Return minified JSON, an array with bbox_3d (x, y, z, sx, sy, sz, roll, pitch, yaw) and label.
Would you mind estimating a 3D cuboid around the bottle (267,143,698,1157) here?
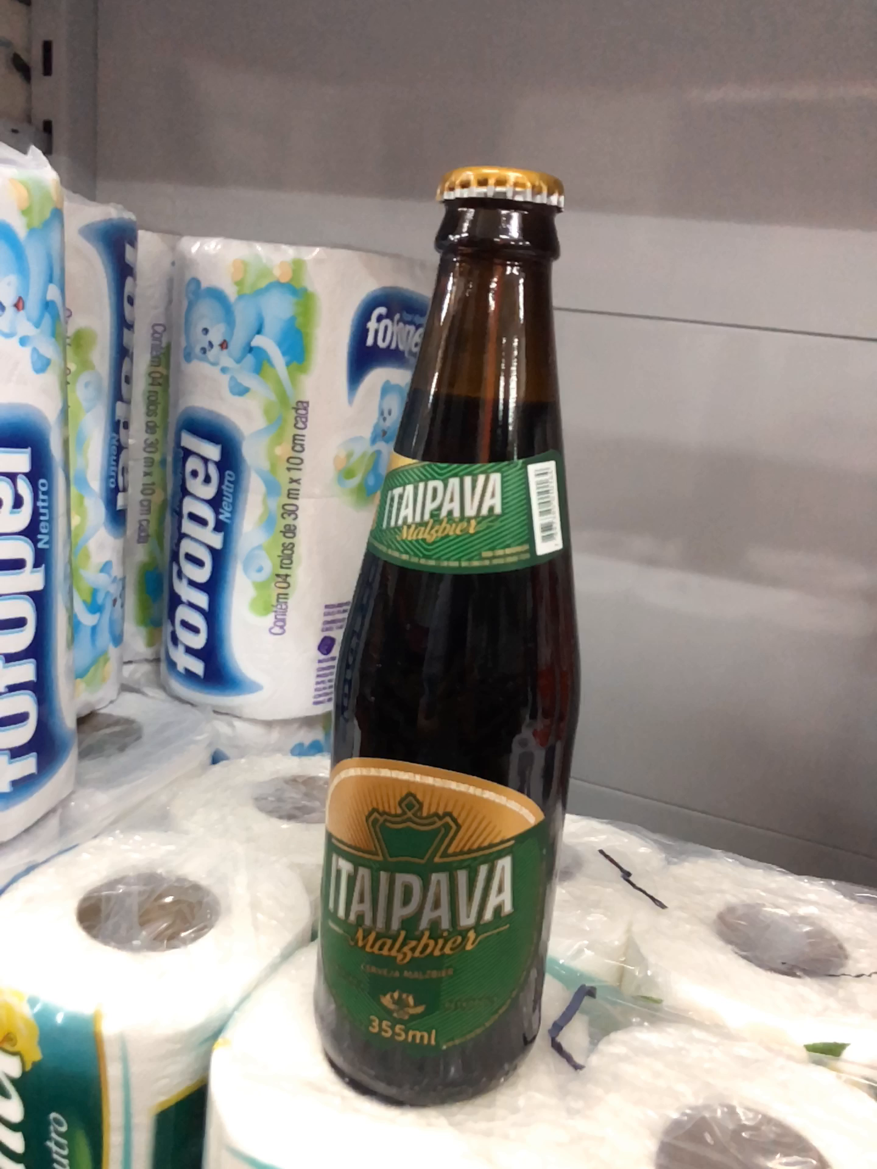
[{"bbox_3d":[0.009,0.017,0.239,0.070,0.219,0.060,10,15,14],"label":"bottle"}]
